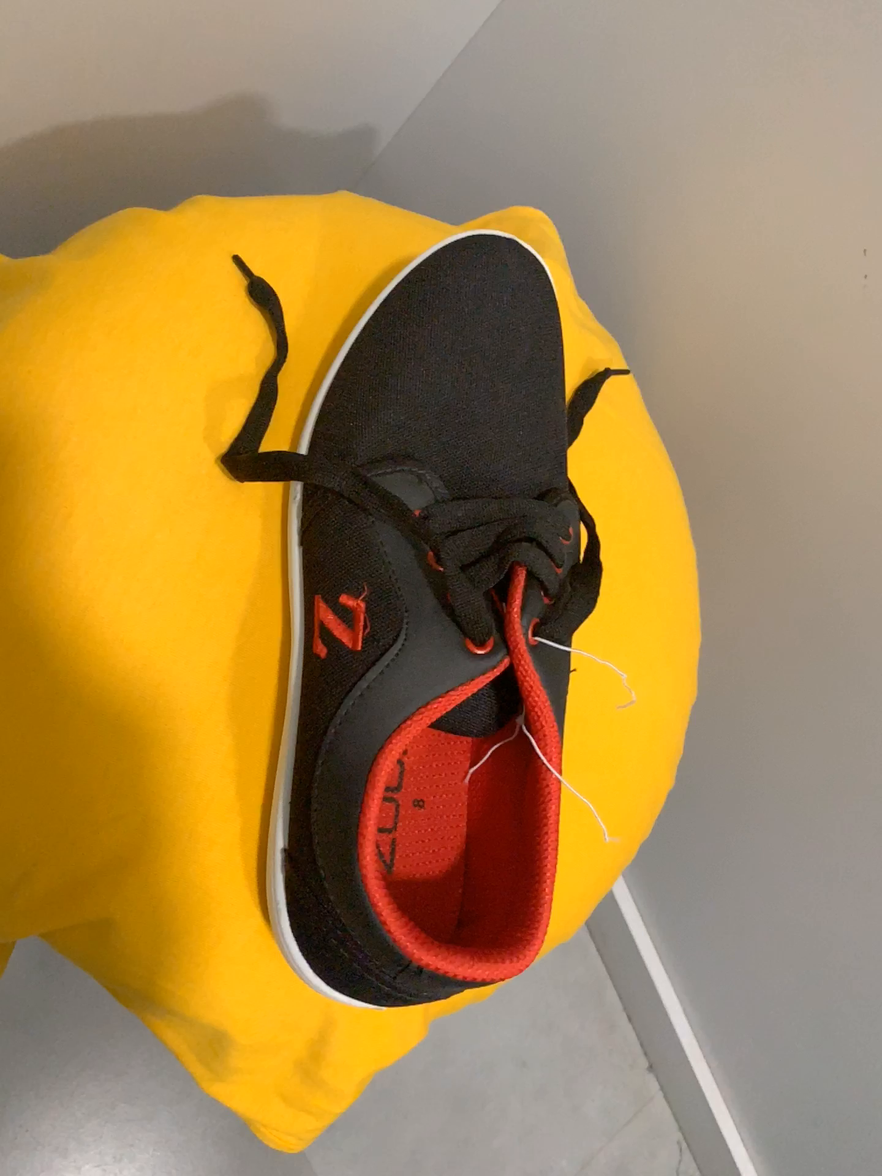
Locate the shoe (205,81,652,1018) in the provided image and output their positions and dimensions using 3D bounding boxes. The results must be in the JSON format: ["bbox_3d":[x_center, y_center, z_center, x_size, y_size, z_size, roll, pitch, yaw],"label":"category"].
[{"bbox_3d":[-0.004,-0.010,0.317,0.090,0.100,0.270,12,78,-27],"label":"shoe"}]
